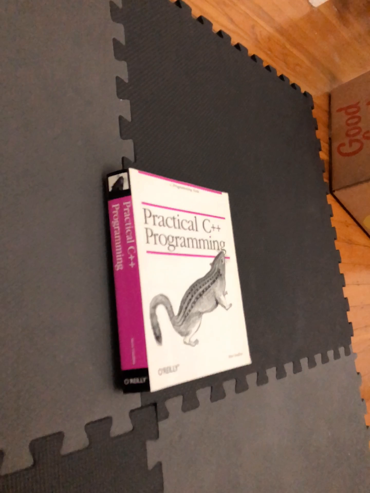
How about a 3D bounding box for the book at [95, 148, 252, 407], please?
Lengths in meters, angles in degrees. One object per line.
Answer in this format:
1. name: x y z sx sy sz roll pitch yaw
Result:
1. book: -0.005 0.036 0.484 0.201 0.050 0.250 8 73 -53
